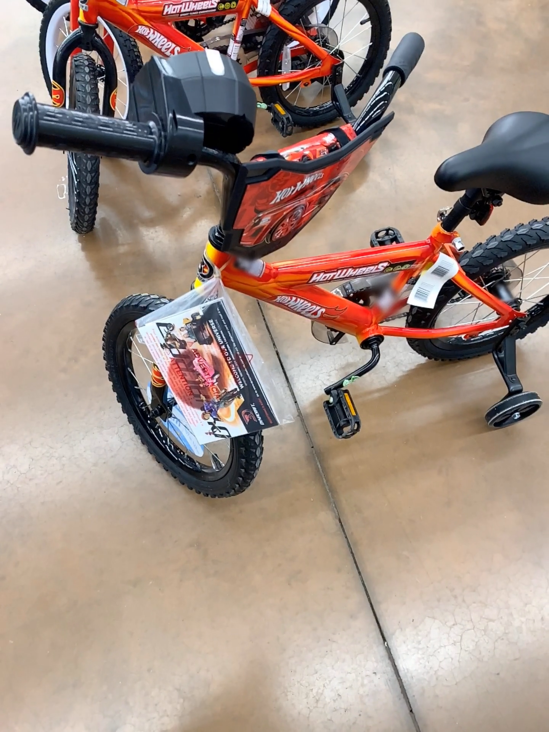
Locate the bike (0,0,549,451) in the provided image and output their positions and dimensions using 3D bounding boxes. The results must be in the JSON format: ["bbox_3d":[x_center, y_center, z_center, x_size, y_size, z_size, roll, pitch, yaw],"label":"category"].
[{"bbox_3d":[0.118,-0.279,1.013,0.994,0.822,0.504,-11,60,1],"label":"bike"}]
